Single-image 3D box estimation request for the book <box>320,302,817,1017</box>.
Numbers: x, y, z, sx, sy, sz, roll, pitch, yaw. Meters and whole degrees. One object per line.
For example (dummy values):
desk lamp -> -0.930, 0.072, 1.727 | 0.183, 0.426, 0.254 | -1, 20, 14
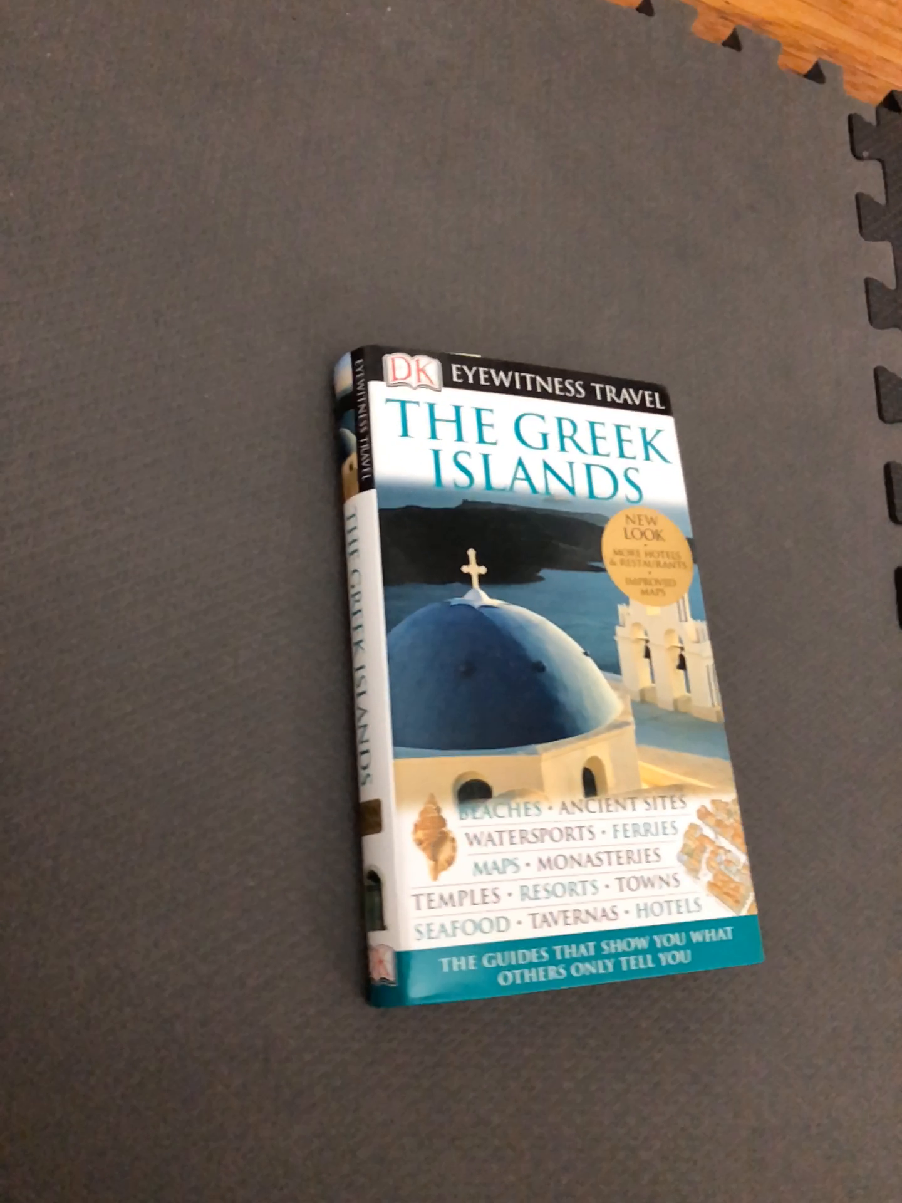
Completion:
book -> 0.038, 0.013, 0.367 | 0.160, 0.030, 0.240 | 2, 72, -20
